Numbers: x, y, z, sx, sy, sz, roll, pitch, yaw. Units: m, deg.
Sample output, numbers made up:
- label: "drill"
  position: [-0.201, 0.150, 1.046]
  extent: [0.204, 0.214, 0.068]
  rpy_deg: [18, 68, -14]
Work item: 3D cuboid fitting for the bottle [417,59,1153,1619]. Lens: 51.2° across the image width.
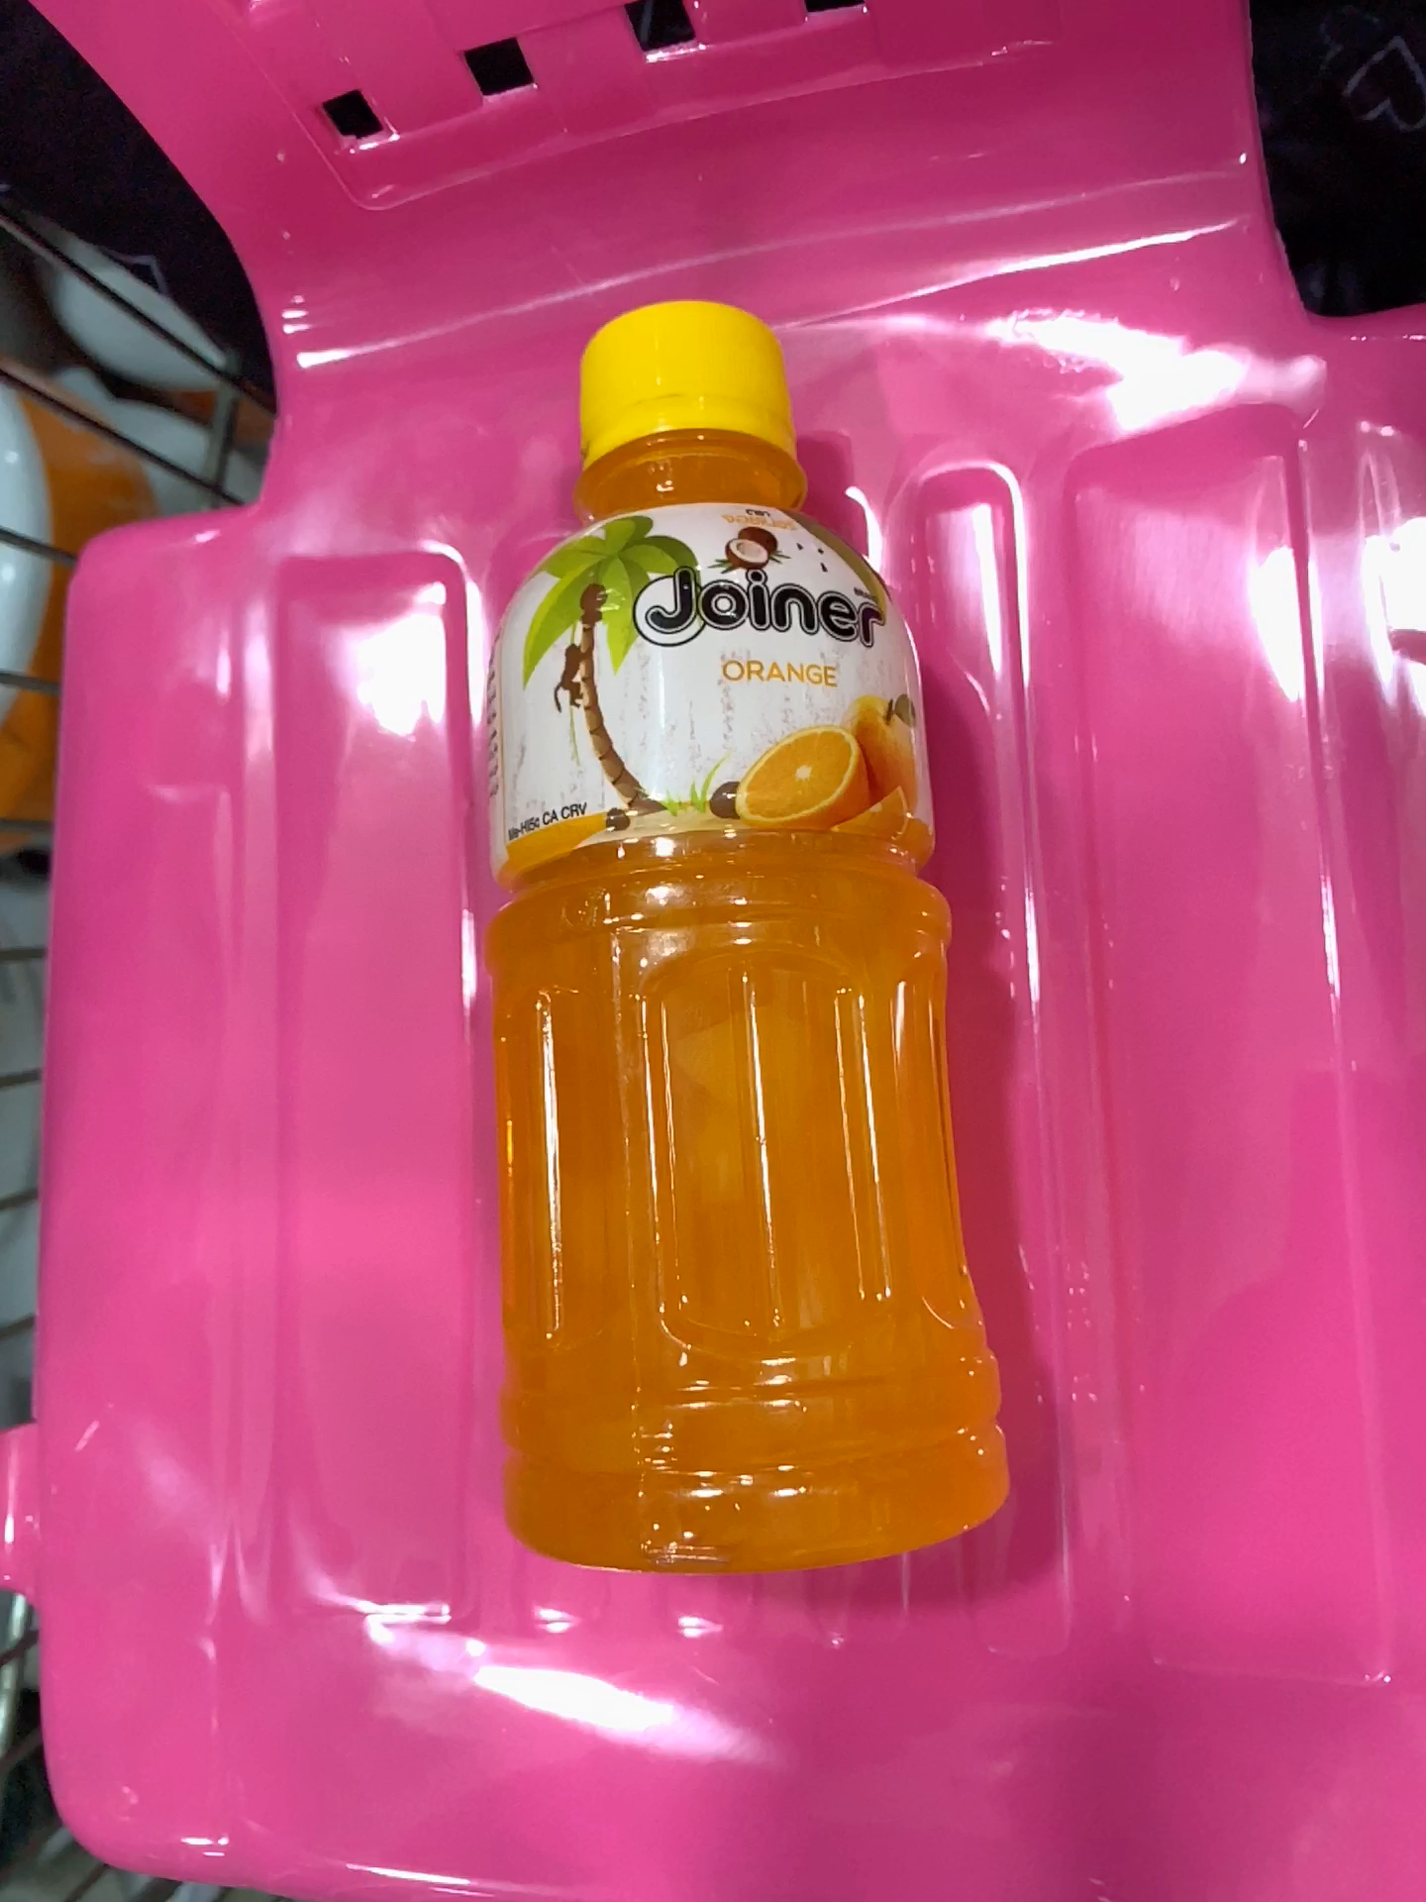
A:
- label: "bottle"
  position: [0.004, -0.015, 0.193]
  extent: [0.070, 0.060, 0.170]
  rpy_deg: [-3, 84, -6]
